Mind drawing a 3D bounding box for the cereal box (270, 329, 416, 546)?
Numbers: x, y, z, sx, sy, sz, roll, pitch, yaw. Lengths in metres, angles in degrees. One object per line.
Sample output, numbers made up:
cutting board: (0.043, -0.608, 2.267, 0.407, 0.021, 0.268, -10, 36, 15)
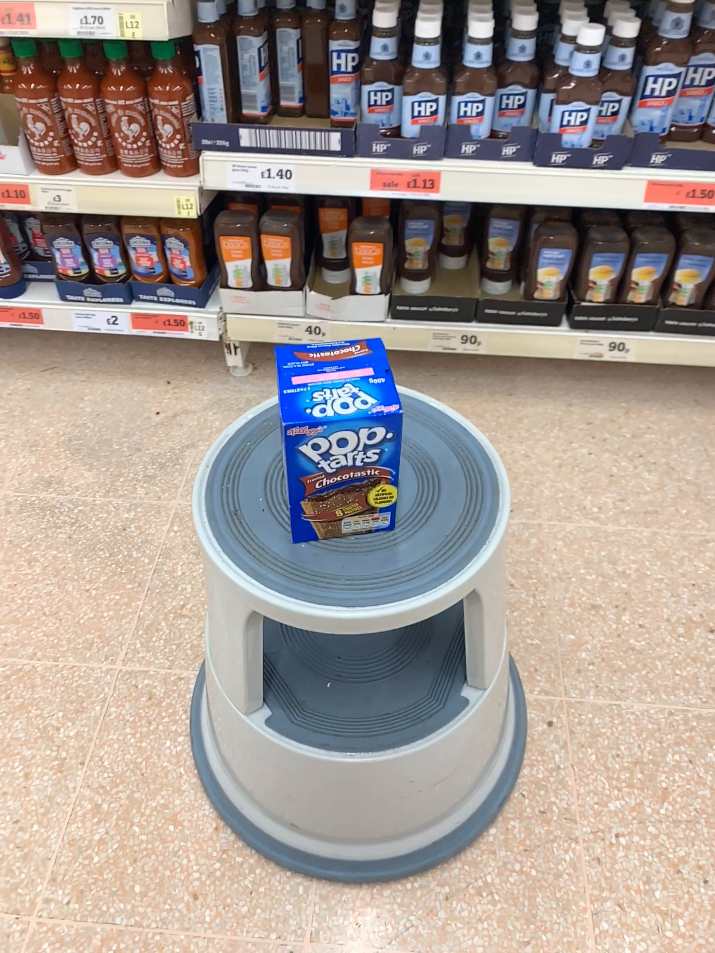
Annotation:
cereal box: (-0.015, -0.033, 0.631, 0.100, 0.139, 0.111, -7, 48, -7)
